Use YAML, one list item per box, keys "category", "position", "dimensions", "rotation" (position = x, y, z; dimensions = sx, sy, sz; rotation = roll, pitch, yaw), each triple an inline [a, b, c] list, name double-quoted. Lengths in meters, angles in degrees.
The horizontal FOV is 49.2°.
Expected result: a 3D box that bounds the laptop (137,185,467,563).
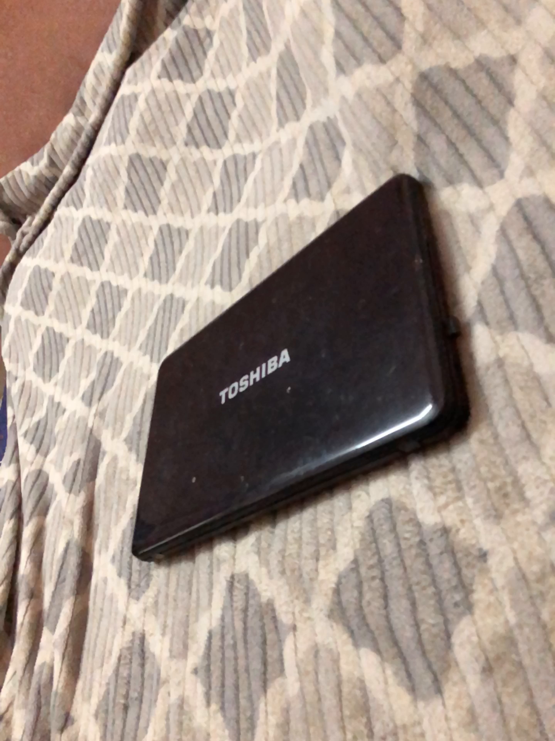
- category: "laptop"
  position: [-0.004, 0.018, 0.579]
  dimensions: [0.376, 0.023, 0.249]
  rotation: [-33, 39, 39]
